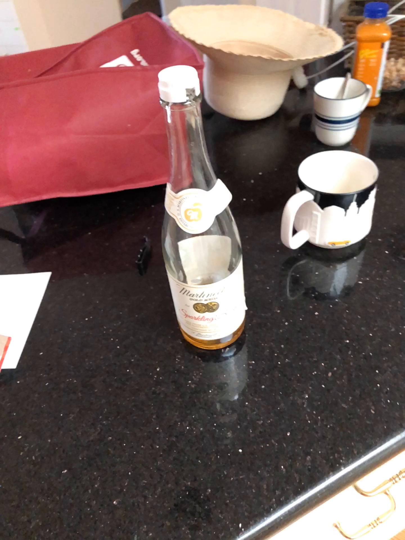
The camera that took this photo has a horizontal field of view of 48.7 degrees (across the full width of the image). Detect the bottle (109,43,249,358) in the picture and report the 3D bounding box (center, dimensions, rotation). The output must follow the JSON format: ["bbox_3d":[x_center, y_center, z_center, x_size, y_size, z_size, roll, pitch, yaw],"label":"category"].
[{"bbox_3d":[-0.001,-0.041,0.468,0.093,0.330,0.101,-4,46,4],"label":"bottle"}]
